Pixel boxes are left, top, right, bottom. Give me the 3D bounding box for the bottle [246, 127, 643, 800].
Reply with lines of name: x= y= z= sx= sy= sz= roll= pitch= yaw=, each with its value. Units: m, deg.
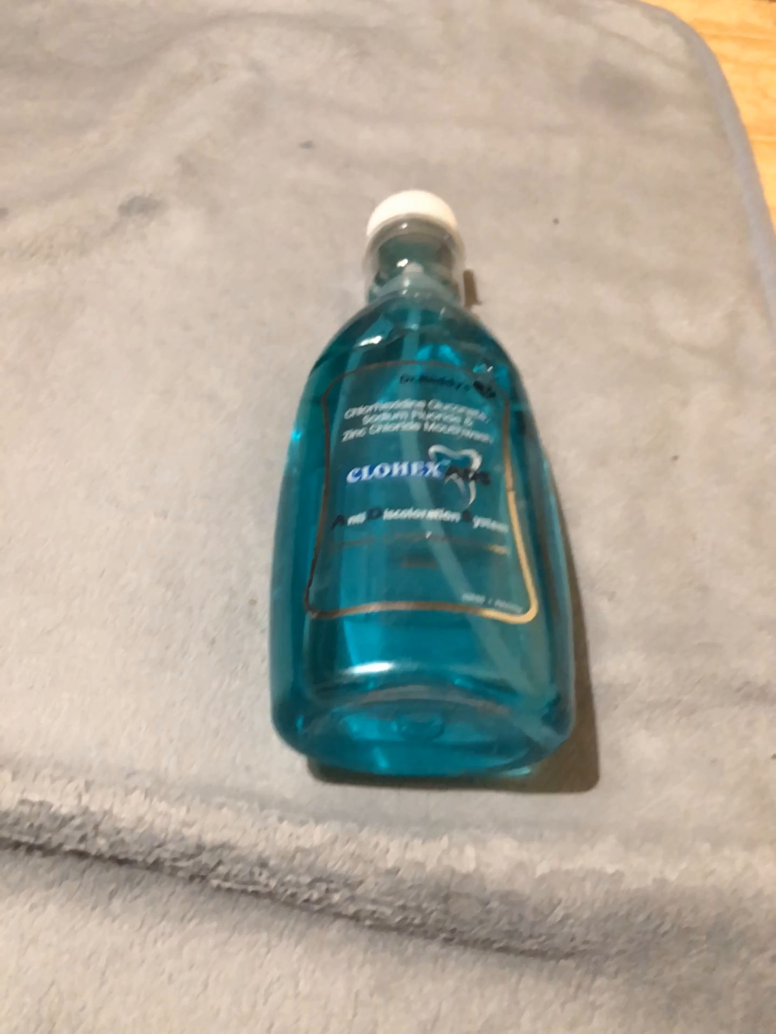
bottle: x=0.008 y=-0.034 z=0.236 sx=0.070 sy=0.040 sz=0.210 roll=2 pitch=50 yaw=-3
